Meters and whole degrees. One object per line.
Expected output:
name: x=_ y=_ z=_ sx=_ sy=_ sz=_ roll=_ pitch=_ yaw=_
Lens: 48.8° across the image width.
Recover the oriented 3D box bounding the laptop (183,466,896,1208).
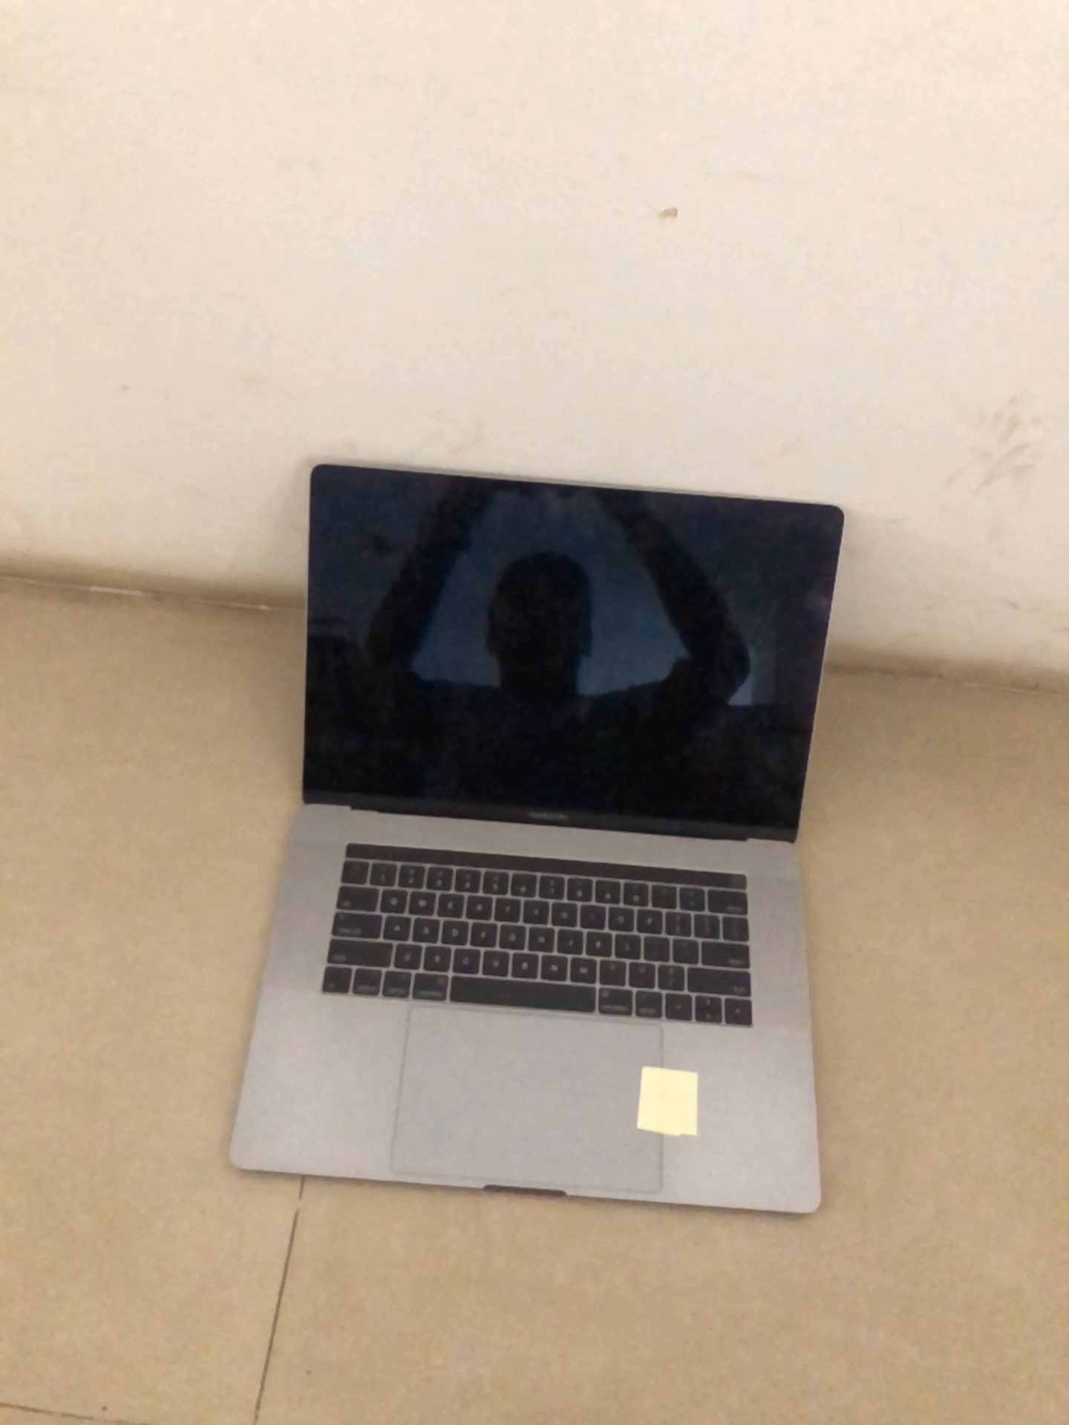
laptop: x=0.011 y=0.065 z=0.709 sx=0.329 sy=0.163 sz=0.381 roll=5 pitch=58 yaw=0
